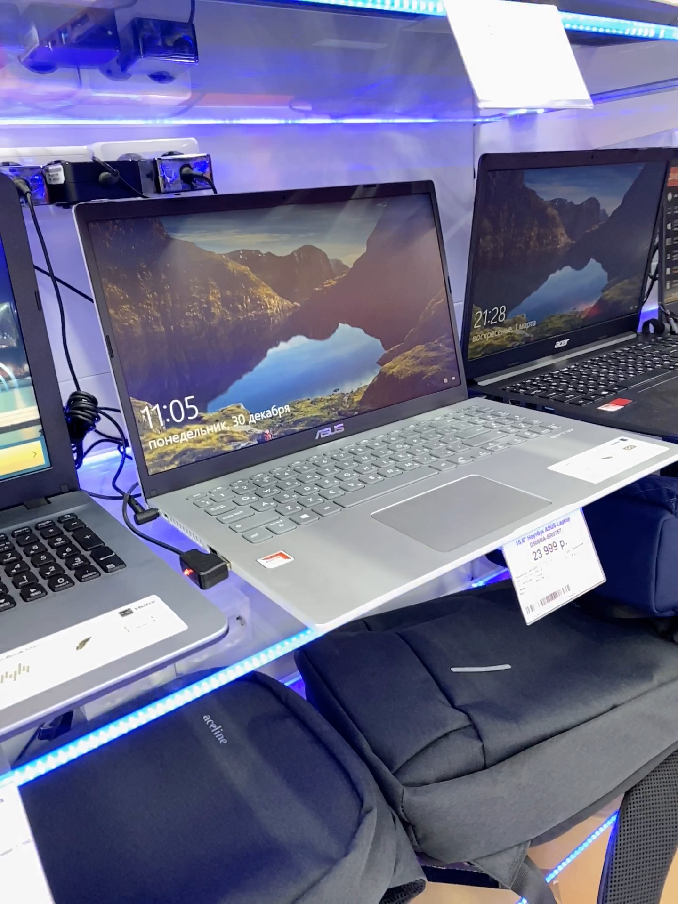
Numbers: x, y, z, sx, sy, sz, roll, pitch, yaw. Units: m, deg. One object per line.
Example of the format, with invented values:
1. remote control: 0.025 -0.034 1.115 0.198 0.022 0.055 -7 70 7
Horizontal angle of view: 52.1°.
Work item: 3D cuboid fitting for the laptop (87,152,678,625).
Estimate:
1. laptop: 0.049 -0.091 0.529 0.360 0.216 0.286 -17 23 -33
